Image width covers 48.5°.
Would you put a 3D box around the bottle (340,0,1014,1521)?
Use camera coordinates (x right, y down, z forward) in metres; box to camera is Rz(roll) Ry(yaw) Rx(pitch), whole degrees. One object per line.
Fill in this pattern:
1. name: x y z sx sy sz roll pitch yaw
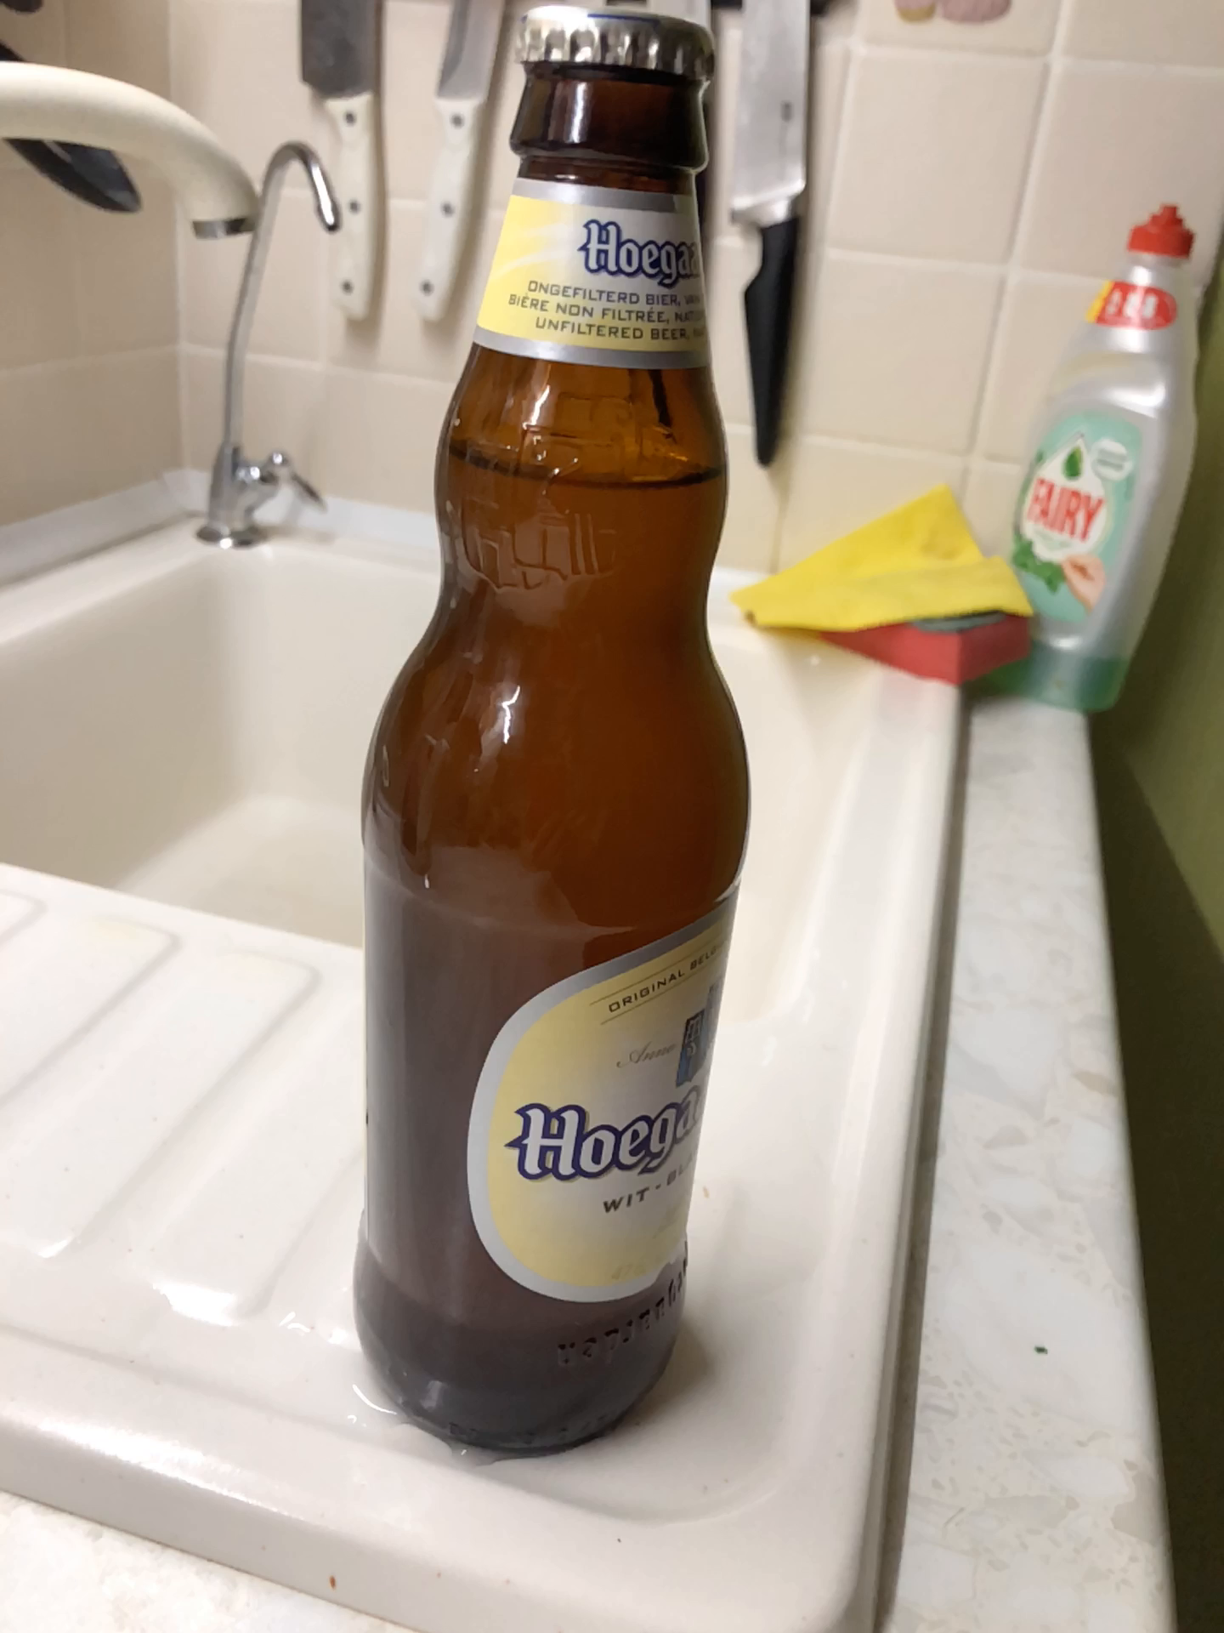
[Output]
1. bottle: 0.003 -0.002 0.229 0.060 0.231 0.070 19 28 27
